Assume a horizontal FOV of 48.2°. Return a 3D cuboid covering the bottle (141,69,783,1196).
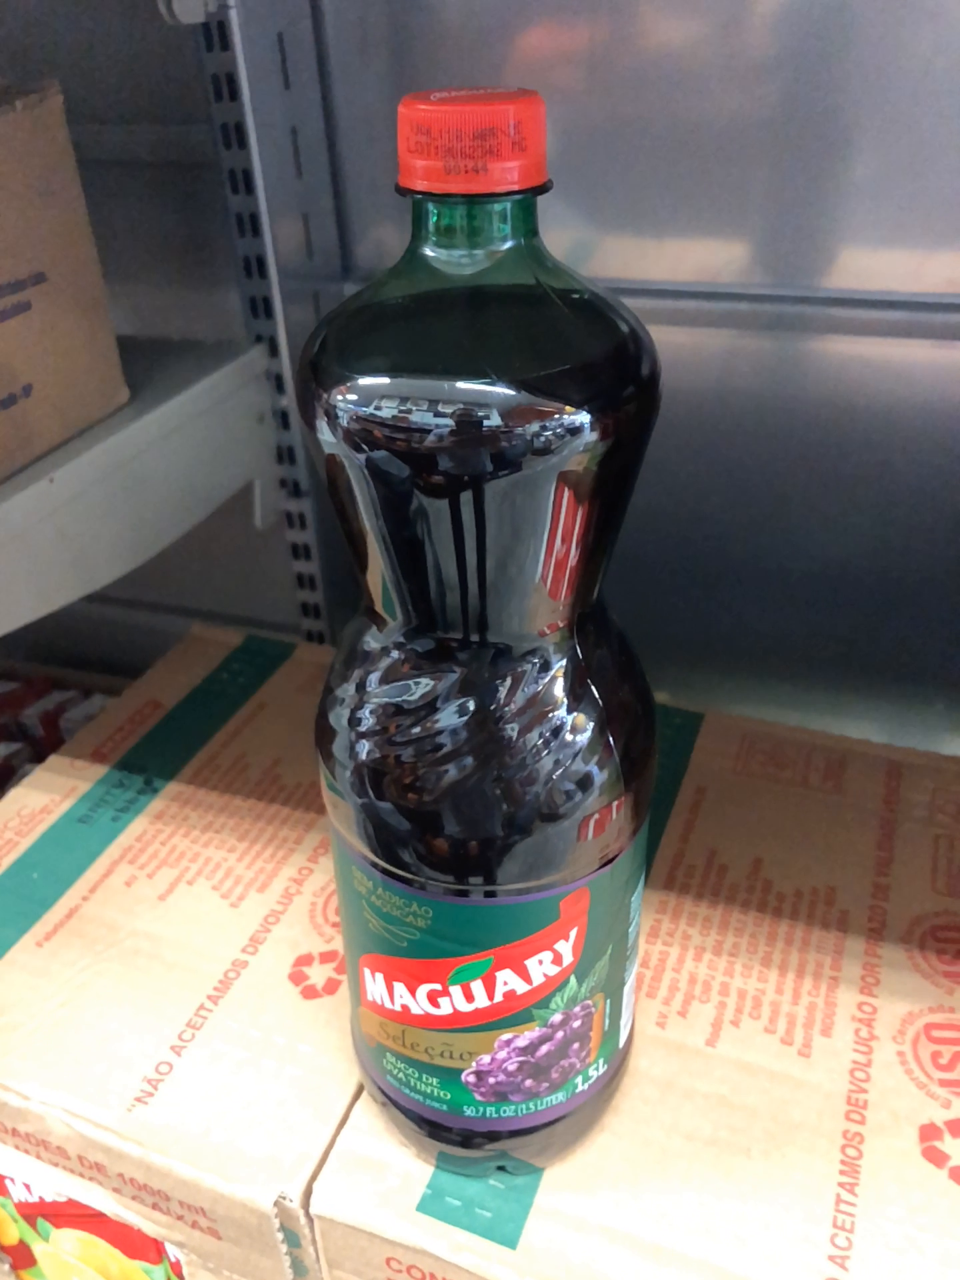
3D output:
[{"bbox_3d":[0.004,0.020,0.277,0.100,0.288,0.081,1,33,5],"label":"bottle"}]
